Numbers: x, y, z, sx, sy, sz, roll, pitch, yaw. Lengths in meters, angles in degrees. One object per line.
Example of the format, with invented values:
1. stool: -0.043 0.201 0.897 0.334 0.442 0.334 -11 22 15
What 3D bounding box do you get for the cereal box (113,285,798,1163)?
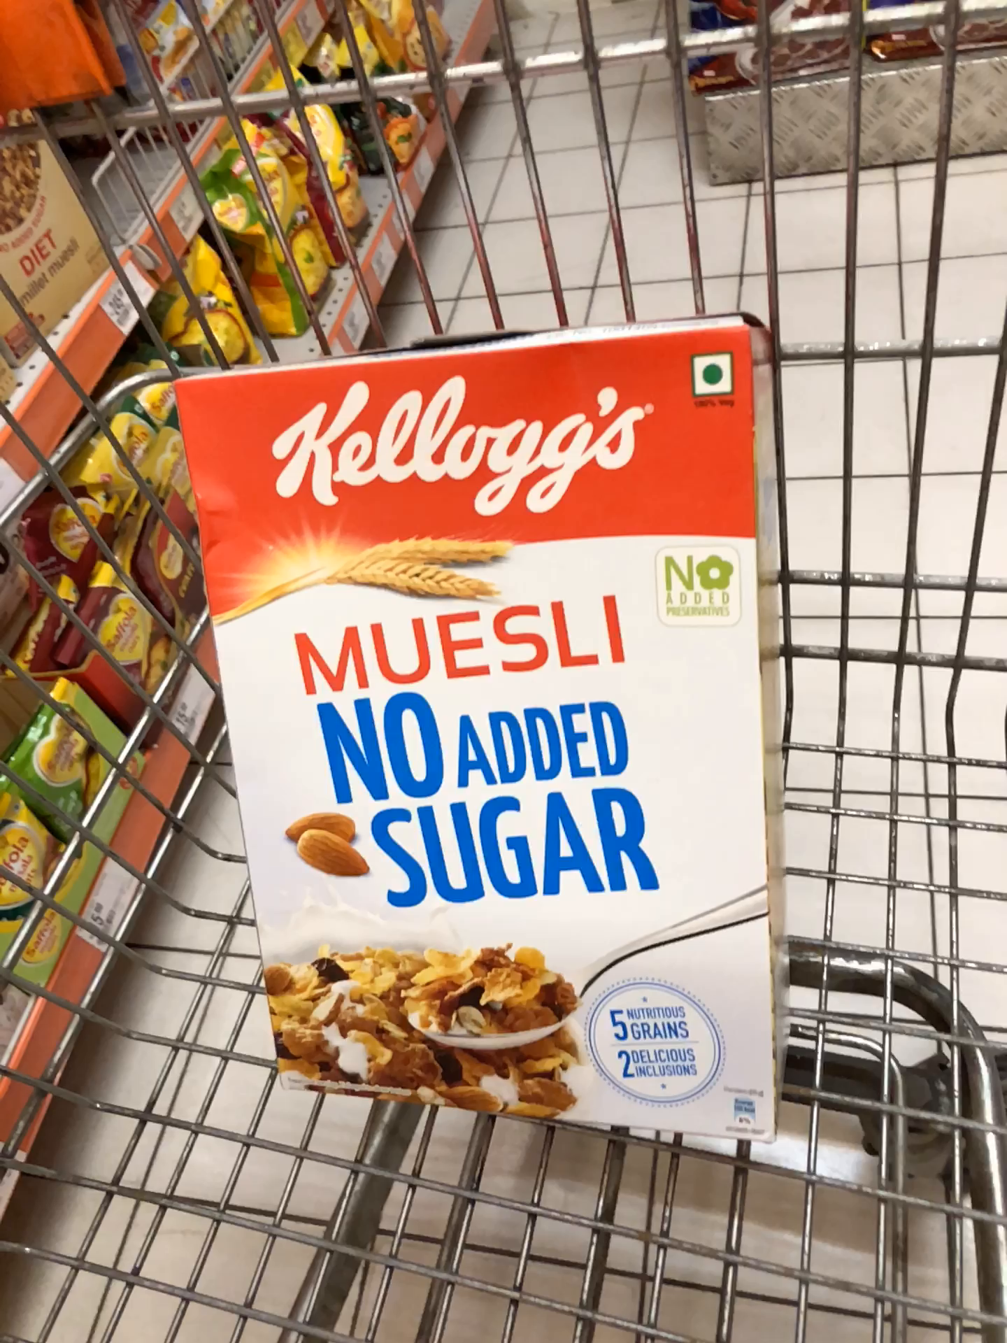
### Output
1. cereal box: -0.003 0.018 0.369 0.190 0.259 0.070 0 17 17
